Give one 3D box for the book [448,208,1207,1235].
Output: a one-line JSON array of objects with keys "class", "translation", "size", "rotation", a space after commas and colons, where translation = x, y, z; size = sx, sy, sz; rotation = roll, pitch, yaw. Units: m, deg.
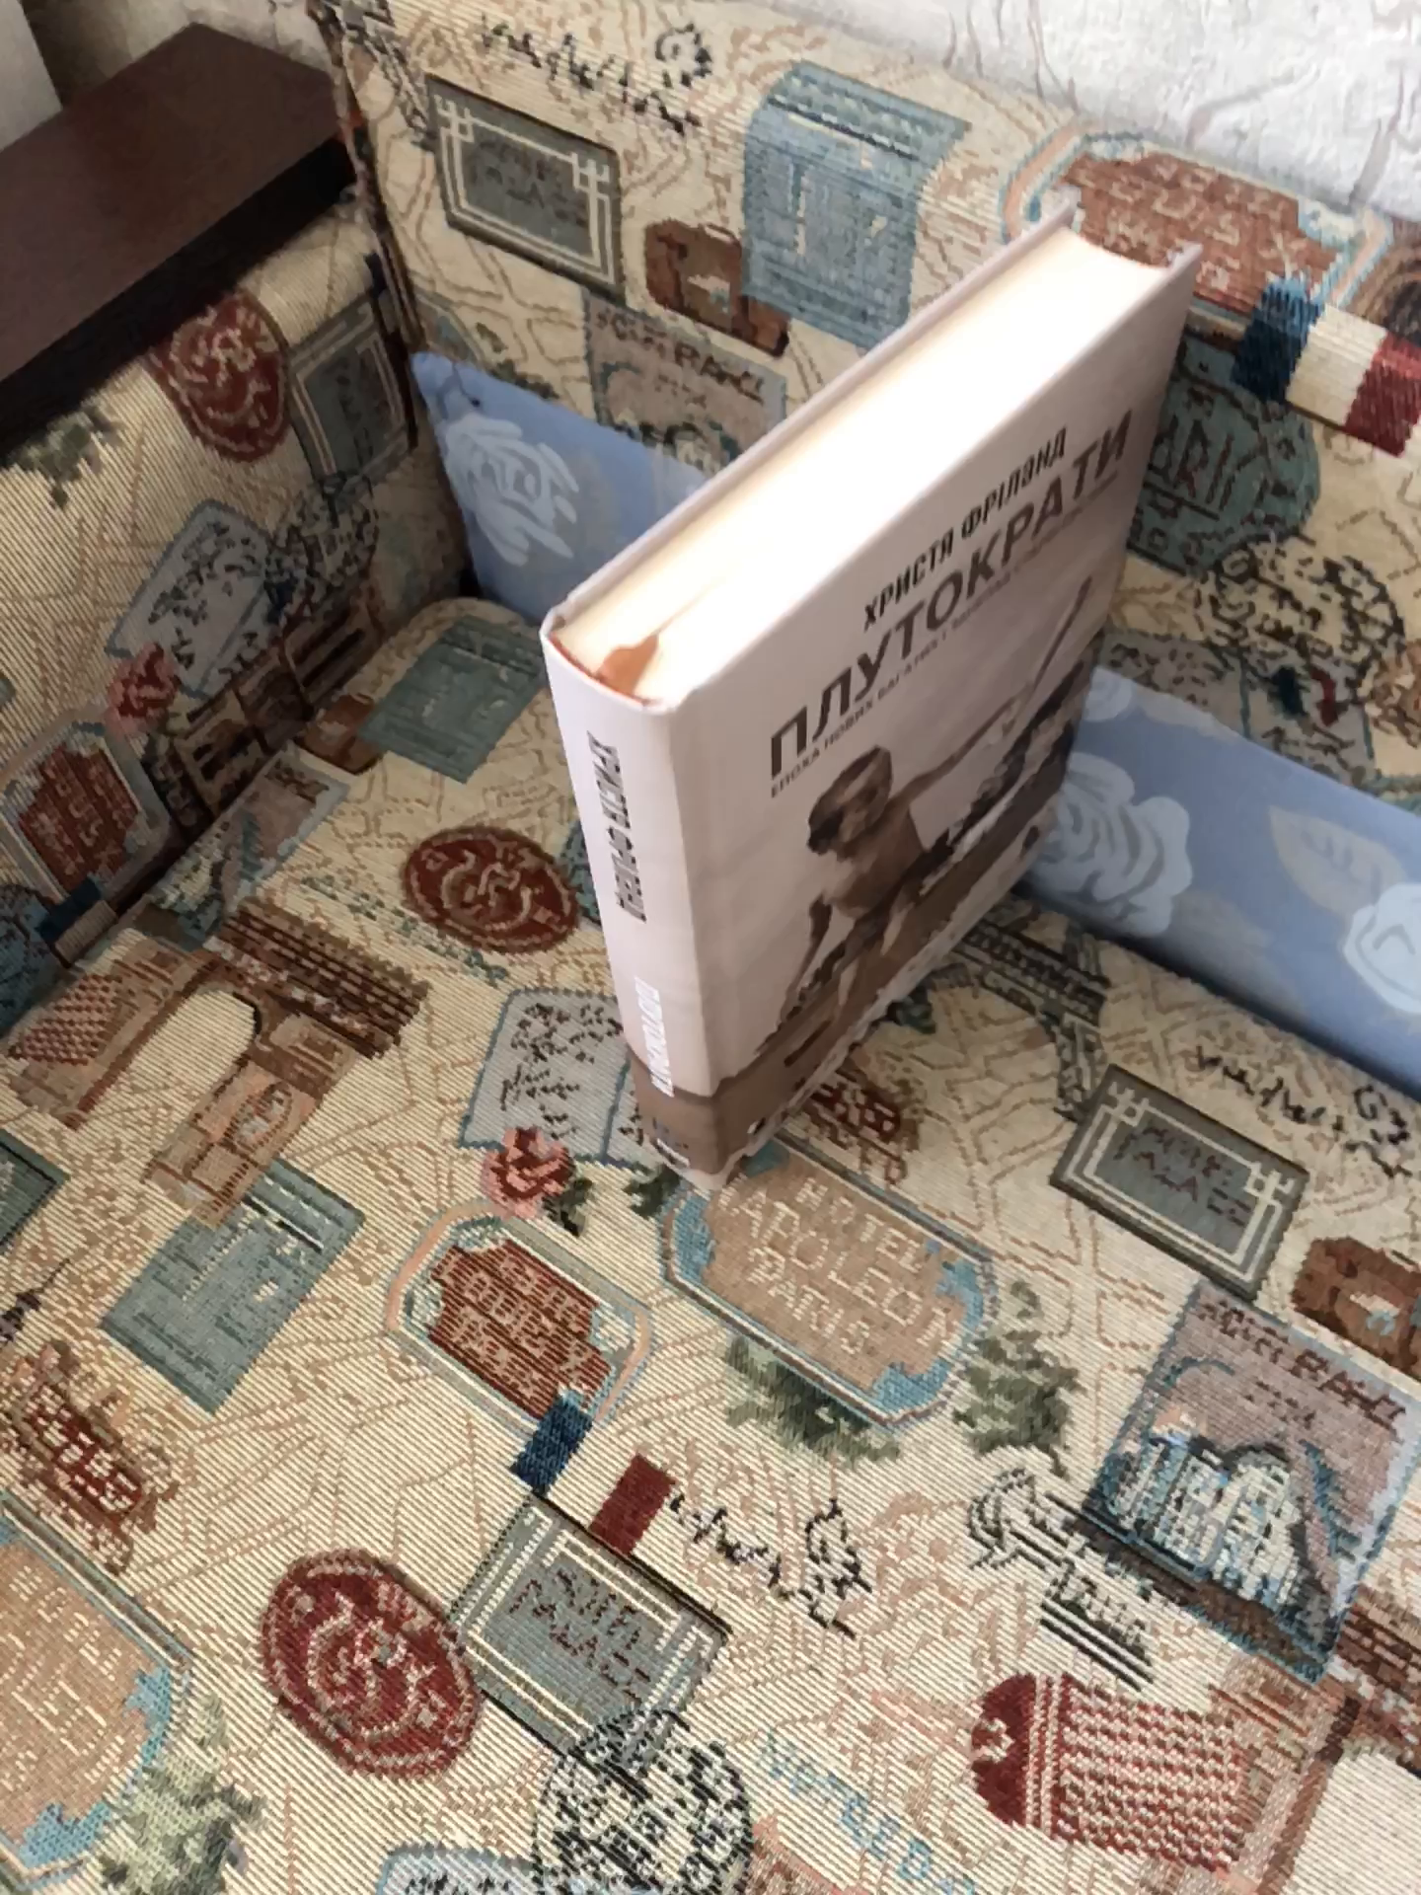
[{"class": "book", "translation": [0.030, -0.037, 0.391], "size": [0.040, 0.219, 0.170], "rotation": [39, 69, 20]}]
